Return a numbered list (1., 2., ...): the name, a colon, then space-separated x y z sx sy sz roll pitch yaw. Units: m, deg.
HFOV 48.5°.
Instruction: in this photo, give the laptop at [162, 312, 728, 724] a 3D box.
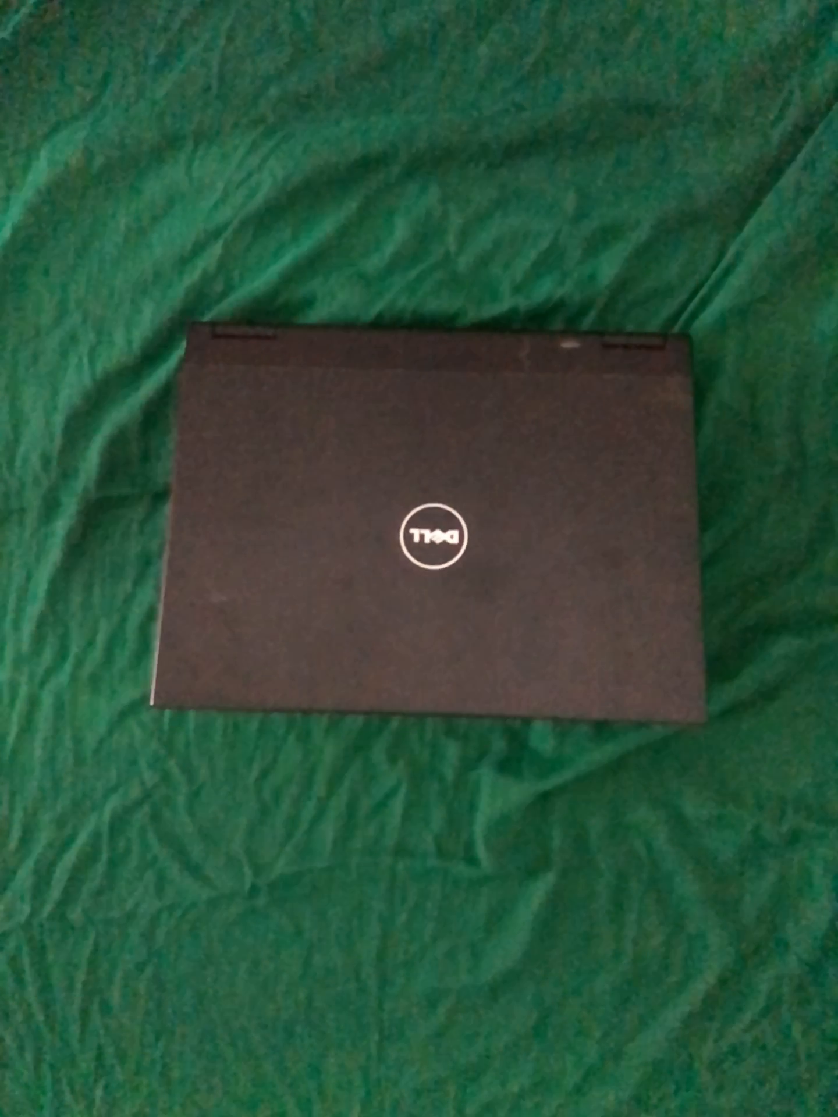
1. laptop: 0.010 -0.021 0.555 0.306 0.066 0.226 2 100 1
